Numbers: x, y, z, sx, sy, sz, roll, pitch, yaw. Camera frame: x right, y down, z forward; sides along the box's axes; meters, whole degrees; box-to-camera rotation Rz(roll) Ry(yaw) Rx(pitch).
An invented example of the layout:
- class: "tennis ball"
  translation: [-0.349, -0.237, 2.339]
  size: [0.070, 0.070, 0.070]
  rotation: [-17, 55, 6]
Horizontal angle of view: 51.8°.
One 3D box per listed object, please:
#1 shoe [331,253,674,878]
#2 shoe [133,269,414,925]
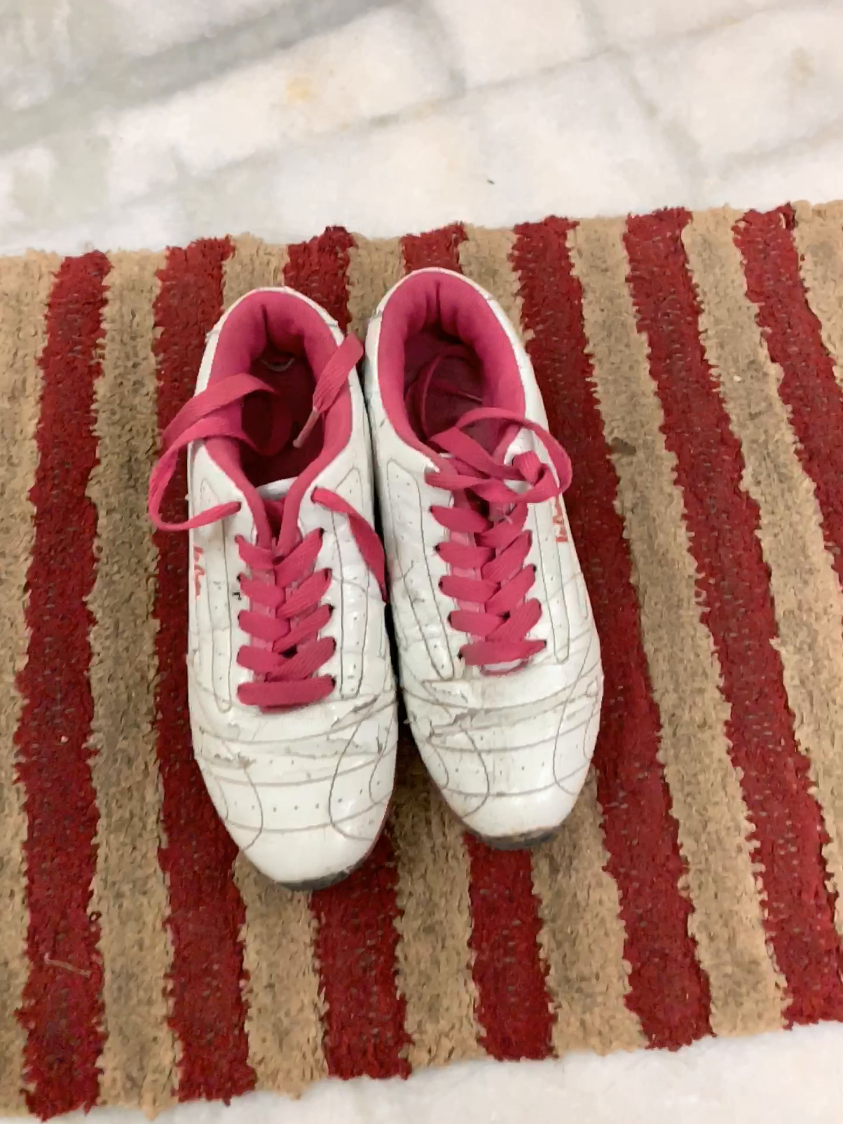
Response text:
- class: "shoe"
  translation: [0.024, 0.002, 0.378]
  size: [0.100, 0.100, 0.241]
  rotation: [-6, 73, -2]
- class: "shoe"
  translation: [-0.060, 0.013, 0.365]
  size: [0.090, 0.100, 0.241]
  rotation: [-6, 73, -2]
